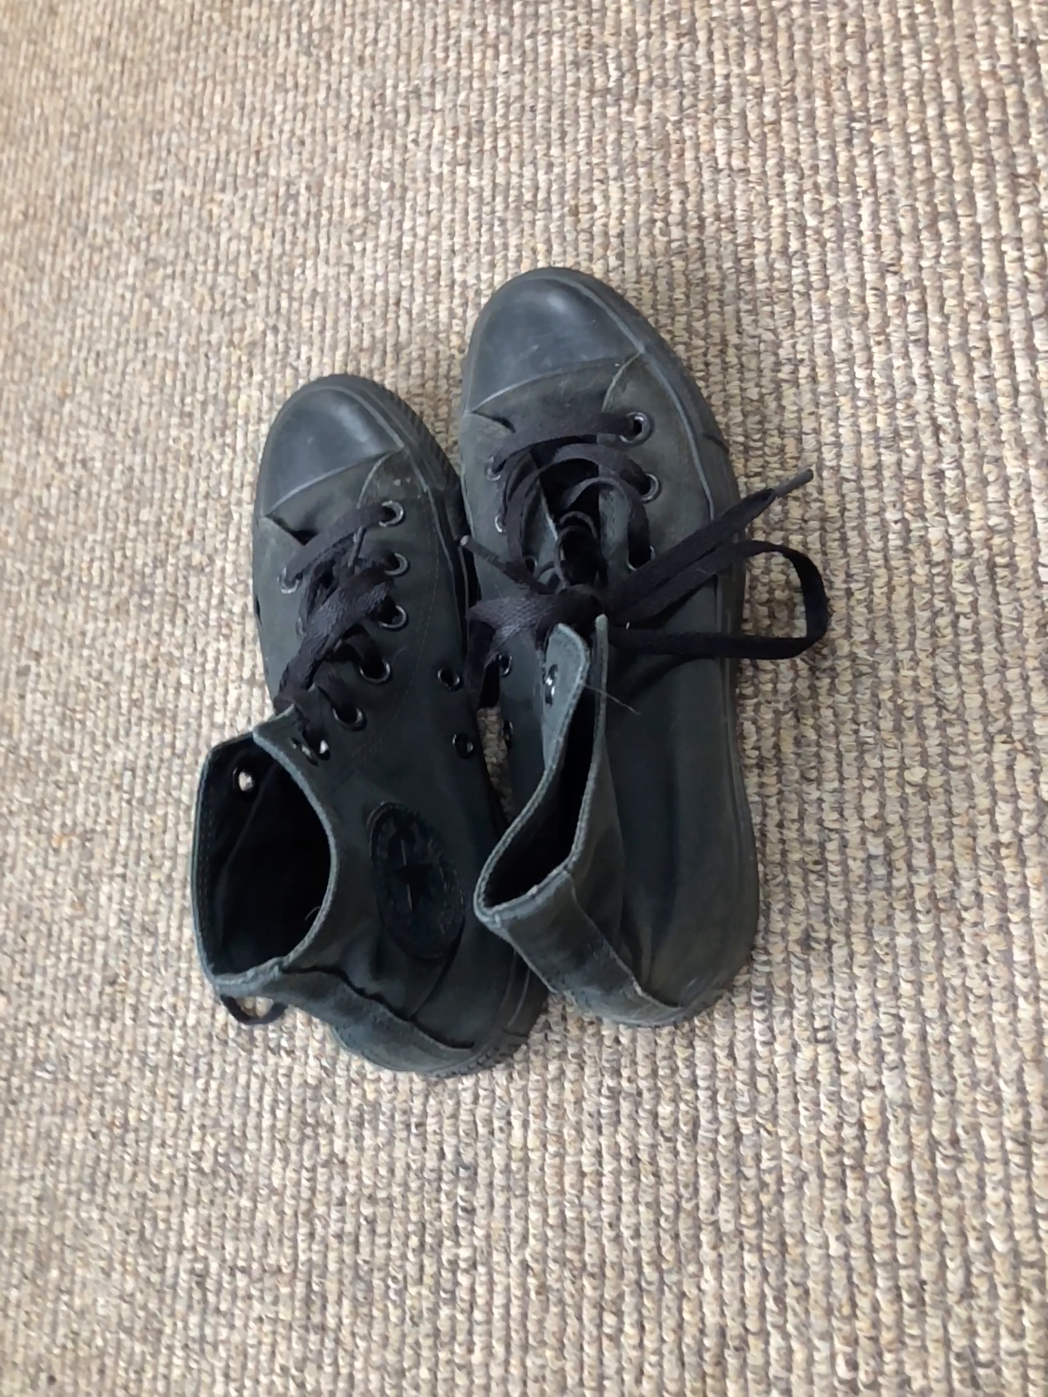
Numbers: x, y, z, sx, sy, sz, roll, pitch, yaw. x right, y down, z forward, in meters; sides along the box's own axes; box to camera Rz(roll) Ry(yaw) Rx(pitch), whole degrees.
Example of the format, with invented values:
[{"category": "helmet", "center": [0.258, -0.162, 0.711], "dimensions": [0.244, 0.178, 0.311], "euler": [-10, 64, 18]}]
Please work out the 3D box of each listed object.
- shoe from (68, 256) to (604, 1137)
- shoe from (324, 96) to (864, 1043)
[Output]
[{"category": "shoe", "center": [-0.061, 0.005, 0.376], "dimensions": [0.089, 0.127, 0.236], "euler": [-19, 68, 19]}, {"category": "shoe", "center": [0.021, -0.028, 0.354], "dimensions": [0.089, 0.127, 0.243], "euler": [-16, 69, 20]}]
